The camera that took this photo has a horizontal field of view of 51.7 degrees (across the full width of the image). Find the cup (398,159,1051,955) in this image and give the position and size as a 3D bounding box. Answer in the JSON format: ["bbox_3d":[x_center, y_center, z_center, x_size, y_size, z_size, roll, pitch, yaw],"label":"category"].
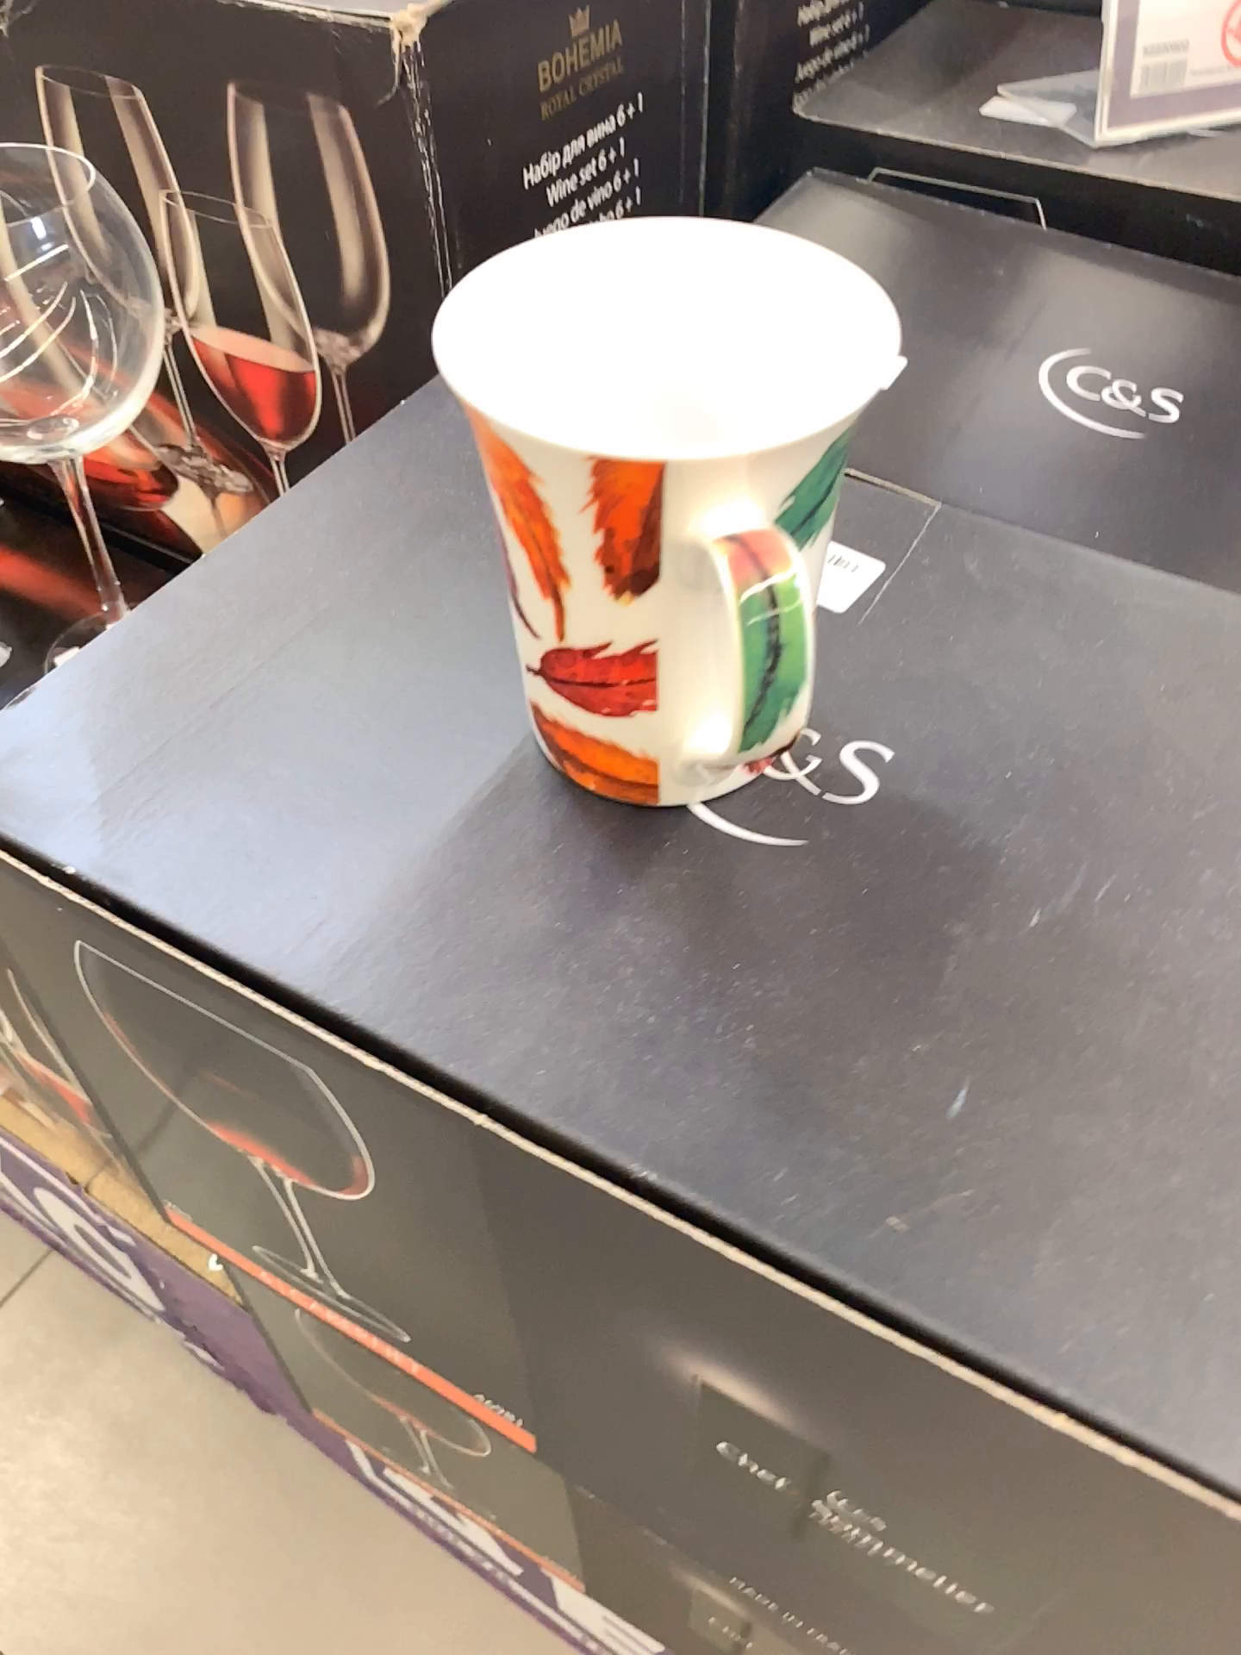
[{"bbox_3d":[0.010,-0.058,0.264,0.090,0.100,0.120,-8,48,-6],"label":"cup"}]
